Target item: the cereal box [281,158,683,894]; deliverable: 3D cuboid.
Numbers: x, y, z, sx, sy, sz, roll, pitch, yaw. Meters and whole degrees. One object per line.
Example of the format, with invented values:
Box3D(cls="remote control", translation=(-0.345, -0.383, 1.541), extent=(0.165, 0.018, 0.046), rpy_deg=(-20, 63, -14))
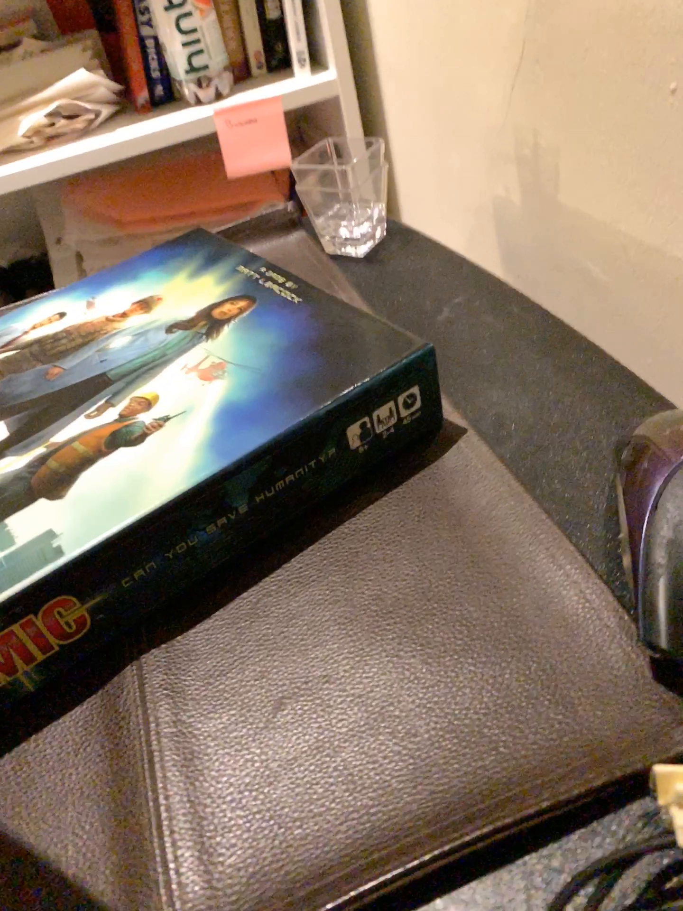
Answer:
Box3D(cls="cereal box", translation=(0.353, 0.149, 1.111), extent=(0.471, 0.993, 0.512), rpy_deg=(8, 45, 26))
